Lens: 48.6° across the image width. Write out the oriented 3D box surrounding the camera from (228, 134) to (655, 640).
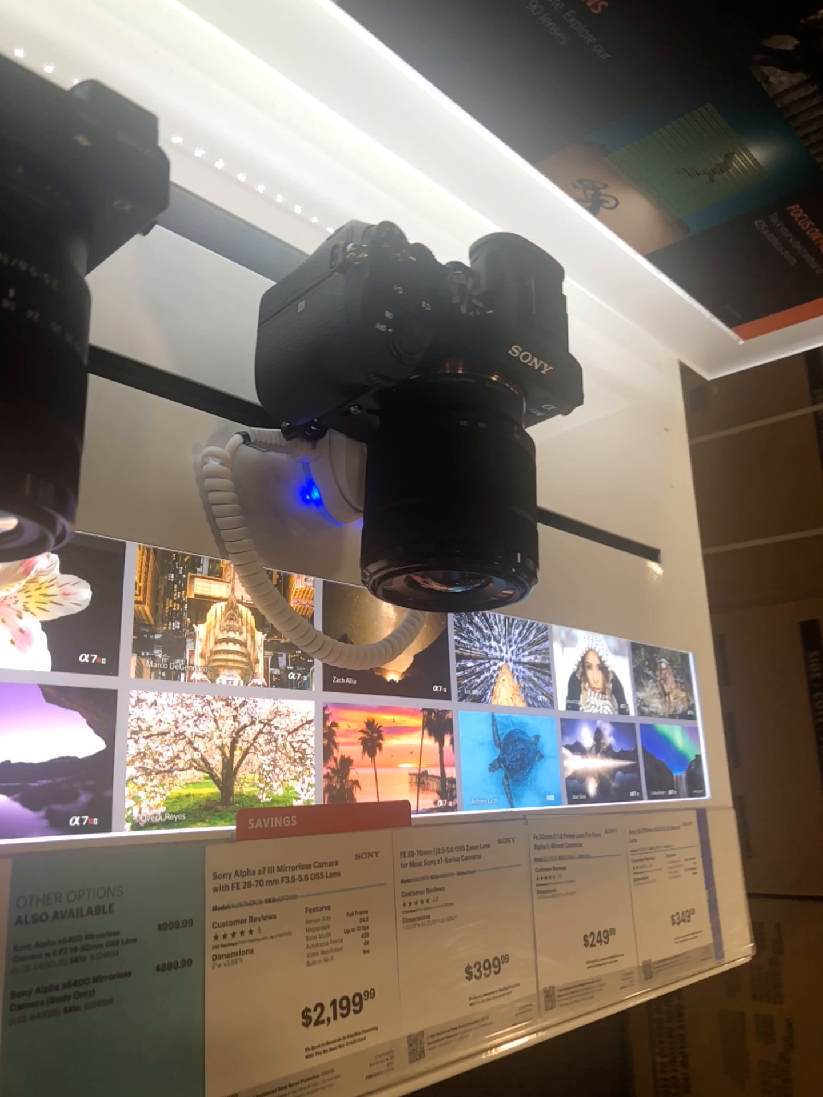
[{"bbox_3d":[0.015,-0.046,0.358,0.141,0.089,0.140,15,68,-46],"label":"camera"}]
